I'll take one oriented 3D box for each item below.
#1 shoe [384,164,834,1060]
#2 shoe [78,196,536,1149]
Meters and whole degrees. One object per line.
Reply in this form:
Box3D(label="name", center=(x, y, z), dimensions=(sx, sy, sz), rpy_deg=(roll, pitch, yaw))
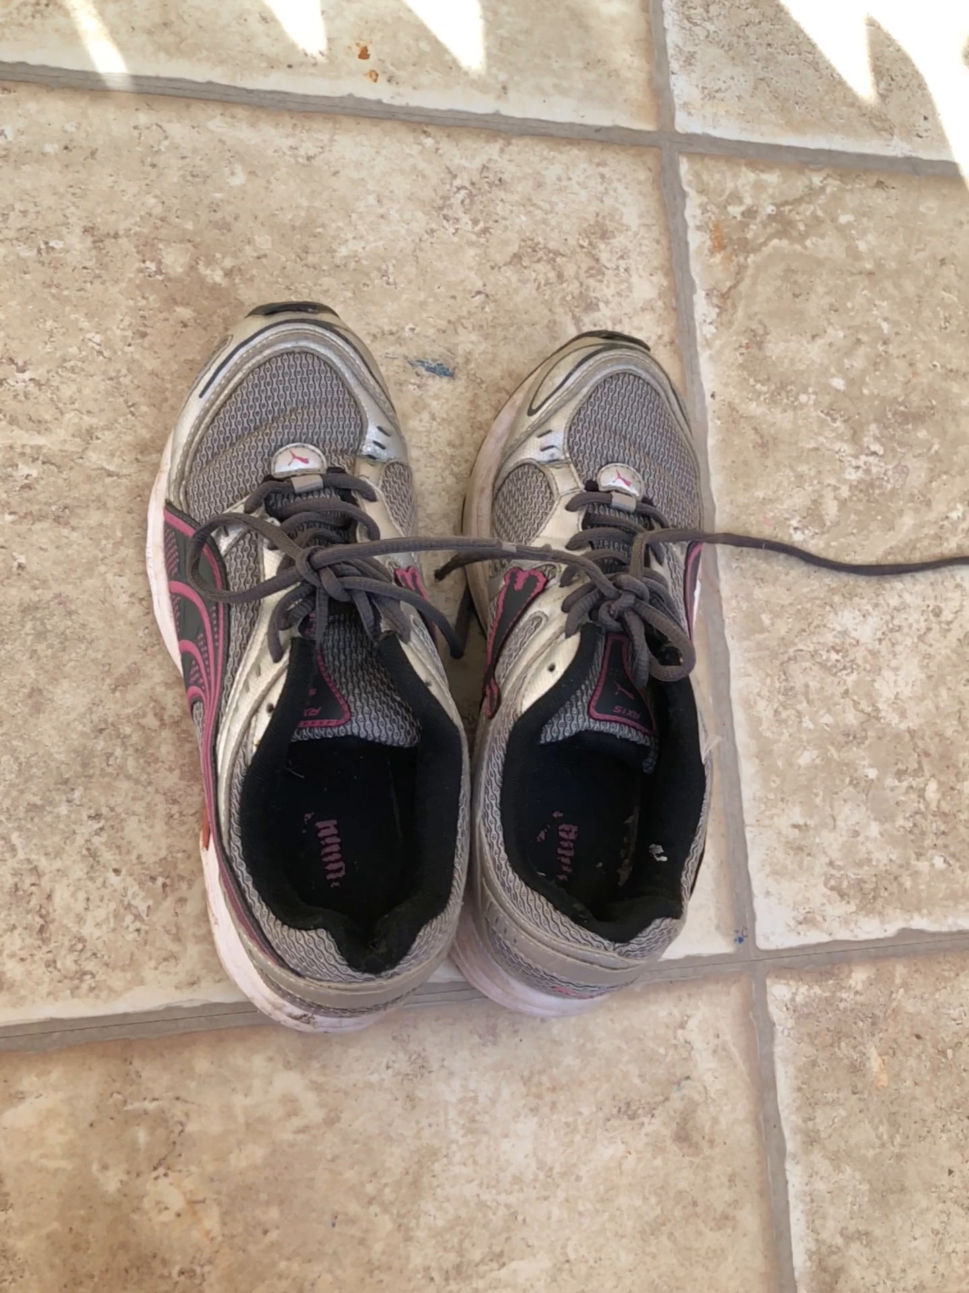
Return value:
Box3D(label="shoe", center=(0.041, -0.005, 0.398), dimensions=(0.110, 0.140, 0.270), rpy_deg=(7, 78, -12))
Box3D(label="shoe", center=(-0.069, 0.006, 0.380), dimensions=(0.110, 0.140, 0.270), rpy_deg=(-4, 80, -14))
